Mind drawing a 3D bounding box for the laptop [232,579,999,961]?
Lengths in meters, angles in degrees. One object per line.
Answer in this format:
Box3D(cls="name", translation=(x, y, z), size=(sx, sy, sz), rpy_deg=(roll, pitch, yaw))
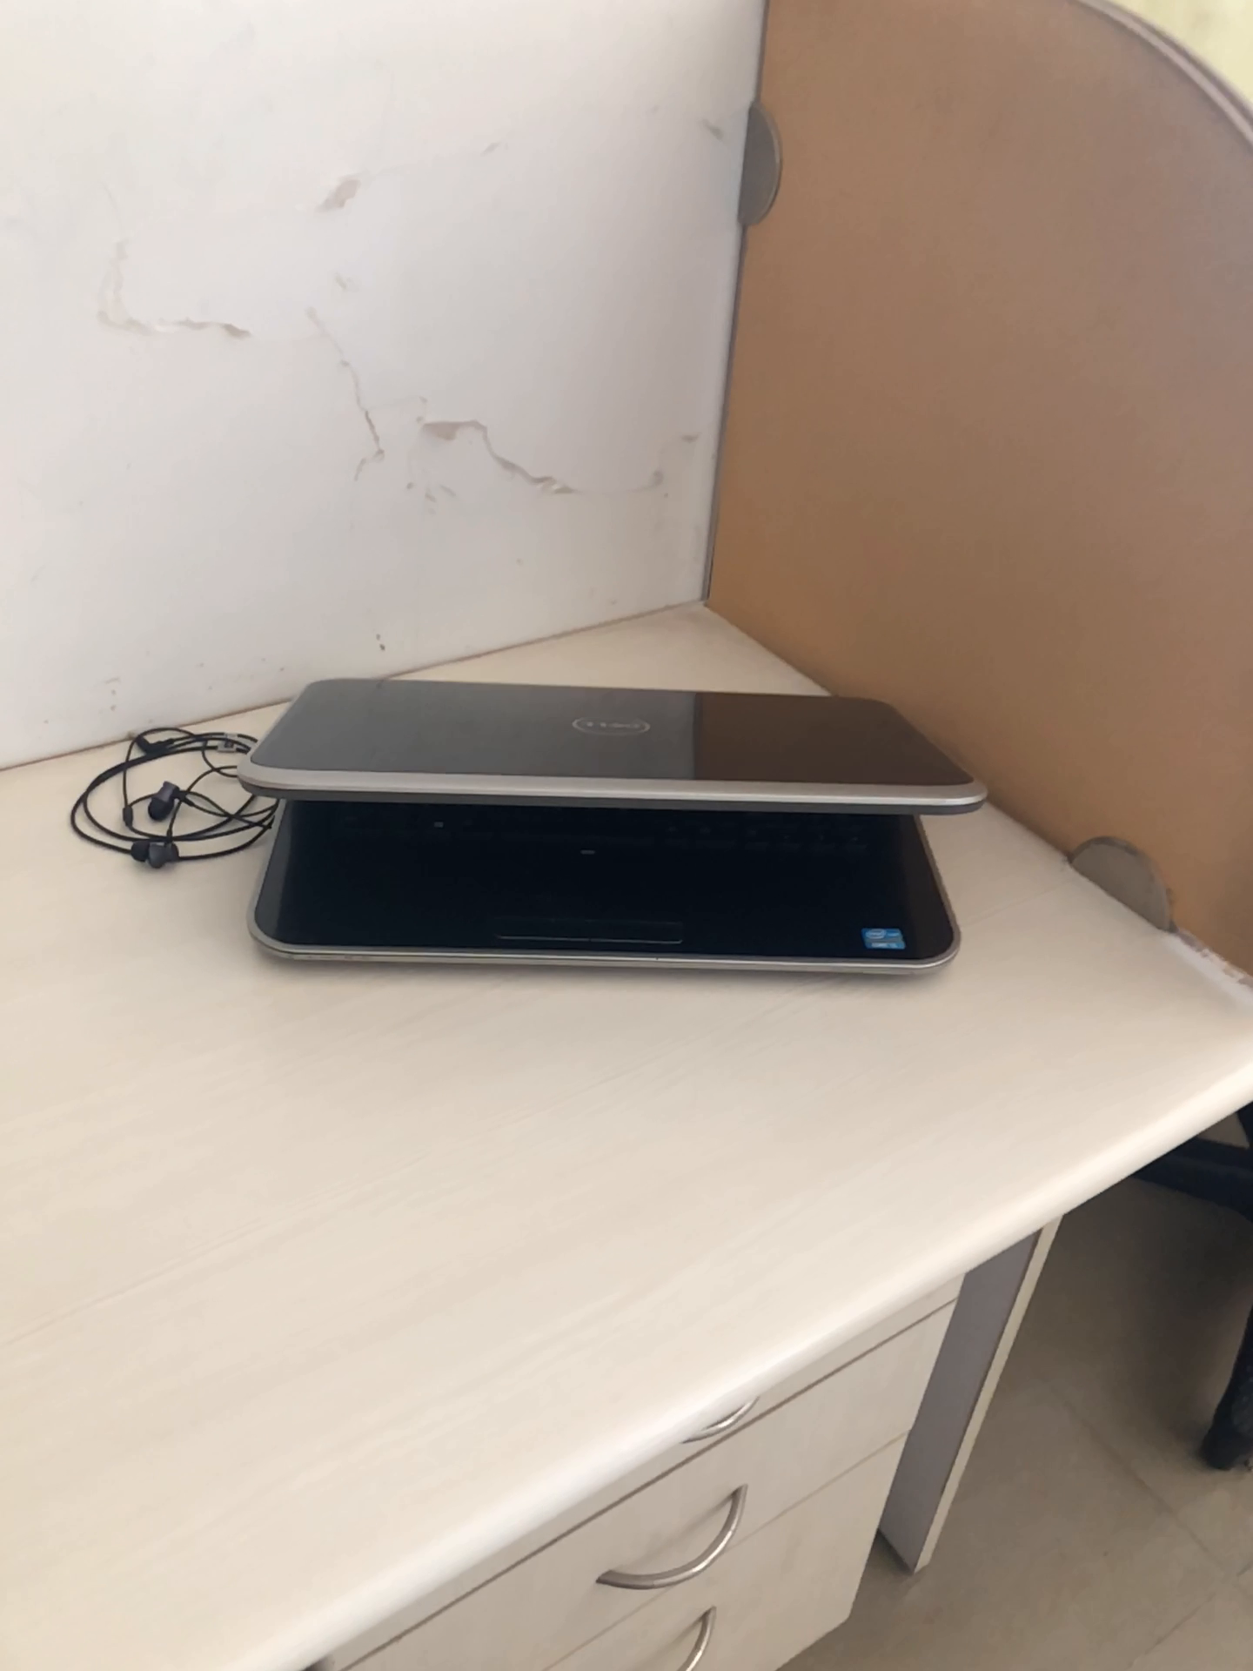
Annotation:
Box3D(cls="laptop", translation=(-0.008, -0.045, 0.766), size=(0.357, 0.094, 0.240), rpy_deg=(2, 34, -4))
